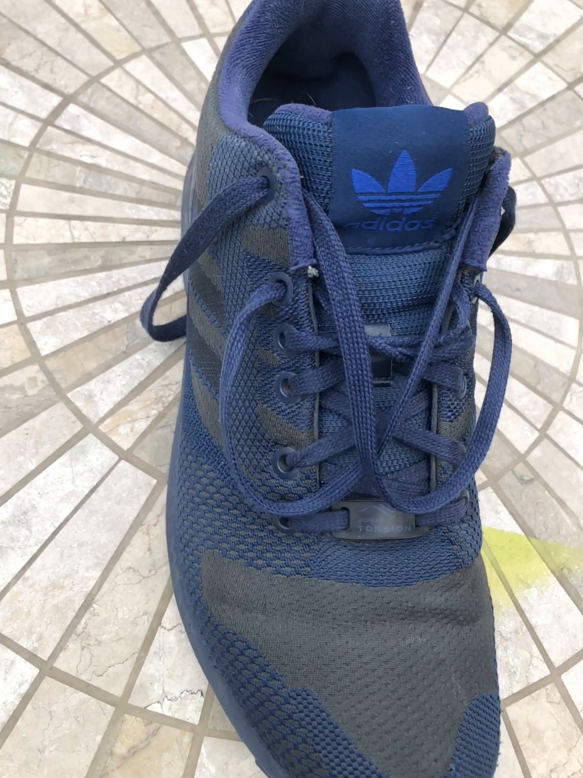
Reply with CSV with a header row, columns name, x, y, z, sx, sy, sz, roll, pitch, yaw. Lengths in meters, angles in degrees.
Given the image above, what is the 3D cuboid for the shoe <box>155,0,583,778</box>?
name,x,y,z,sx,sy,sz,roll,pitch,yaw
shoe,0.014,-0.005,0.221,0.110,0.110,0.281,-1,68,-13
